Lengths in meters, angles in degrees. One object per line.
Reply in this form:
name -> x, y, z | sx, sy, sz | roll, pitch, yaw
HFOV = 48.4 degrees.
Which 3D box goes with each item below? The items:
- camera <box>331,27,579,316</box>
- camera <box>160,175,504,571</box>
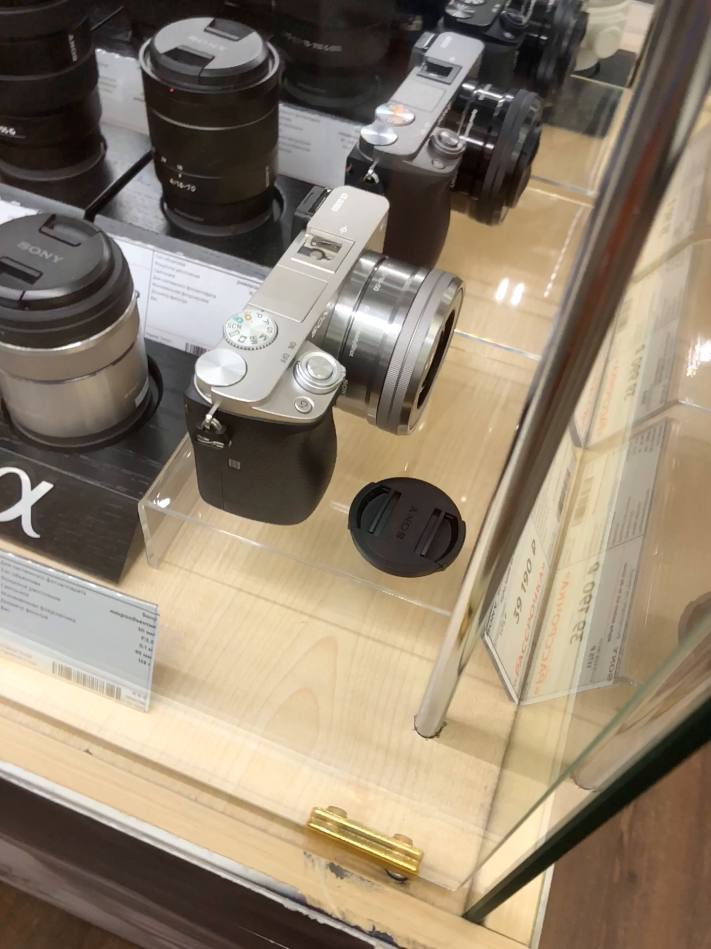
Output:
camera -> 0.049, -0.150, 0.384 | 0.076, 0.061, 0.128 | 20, 54, 10
camera -> -0.004, -0.042, 0.295 | 0.076, 0.061, 0.124 | 20, 54, 10
